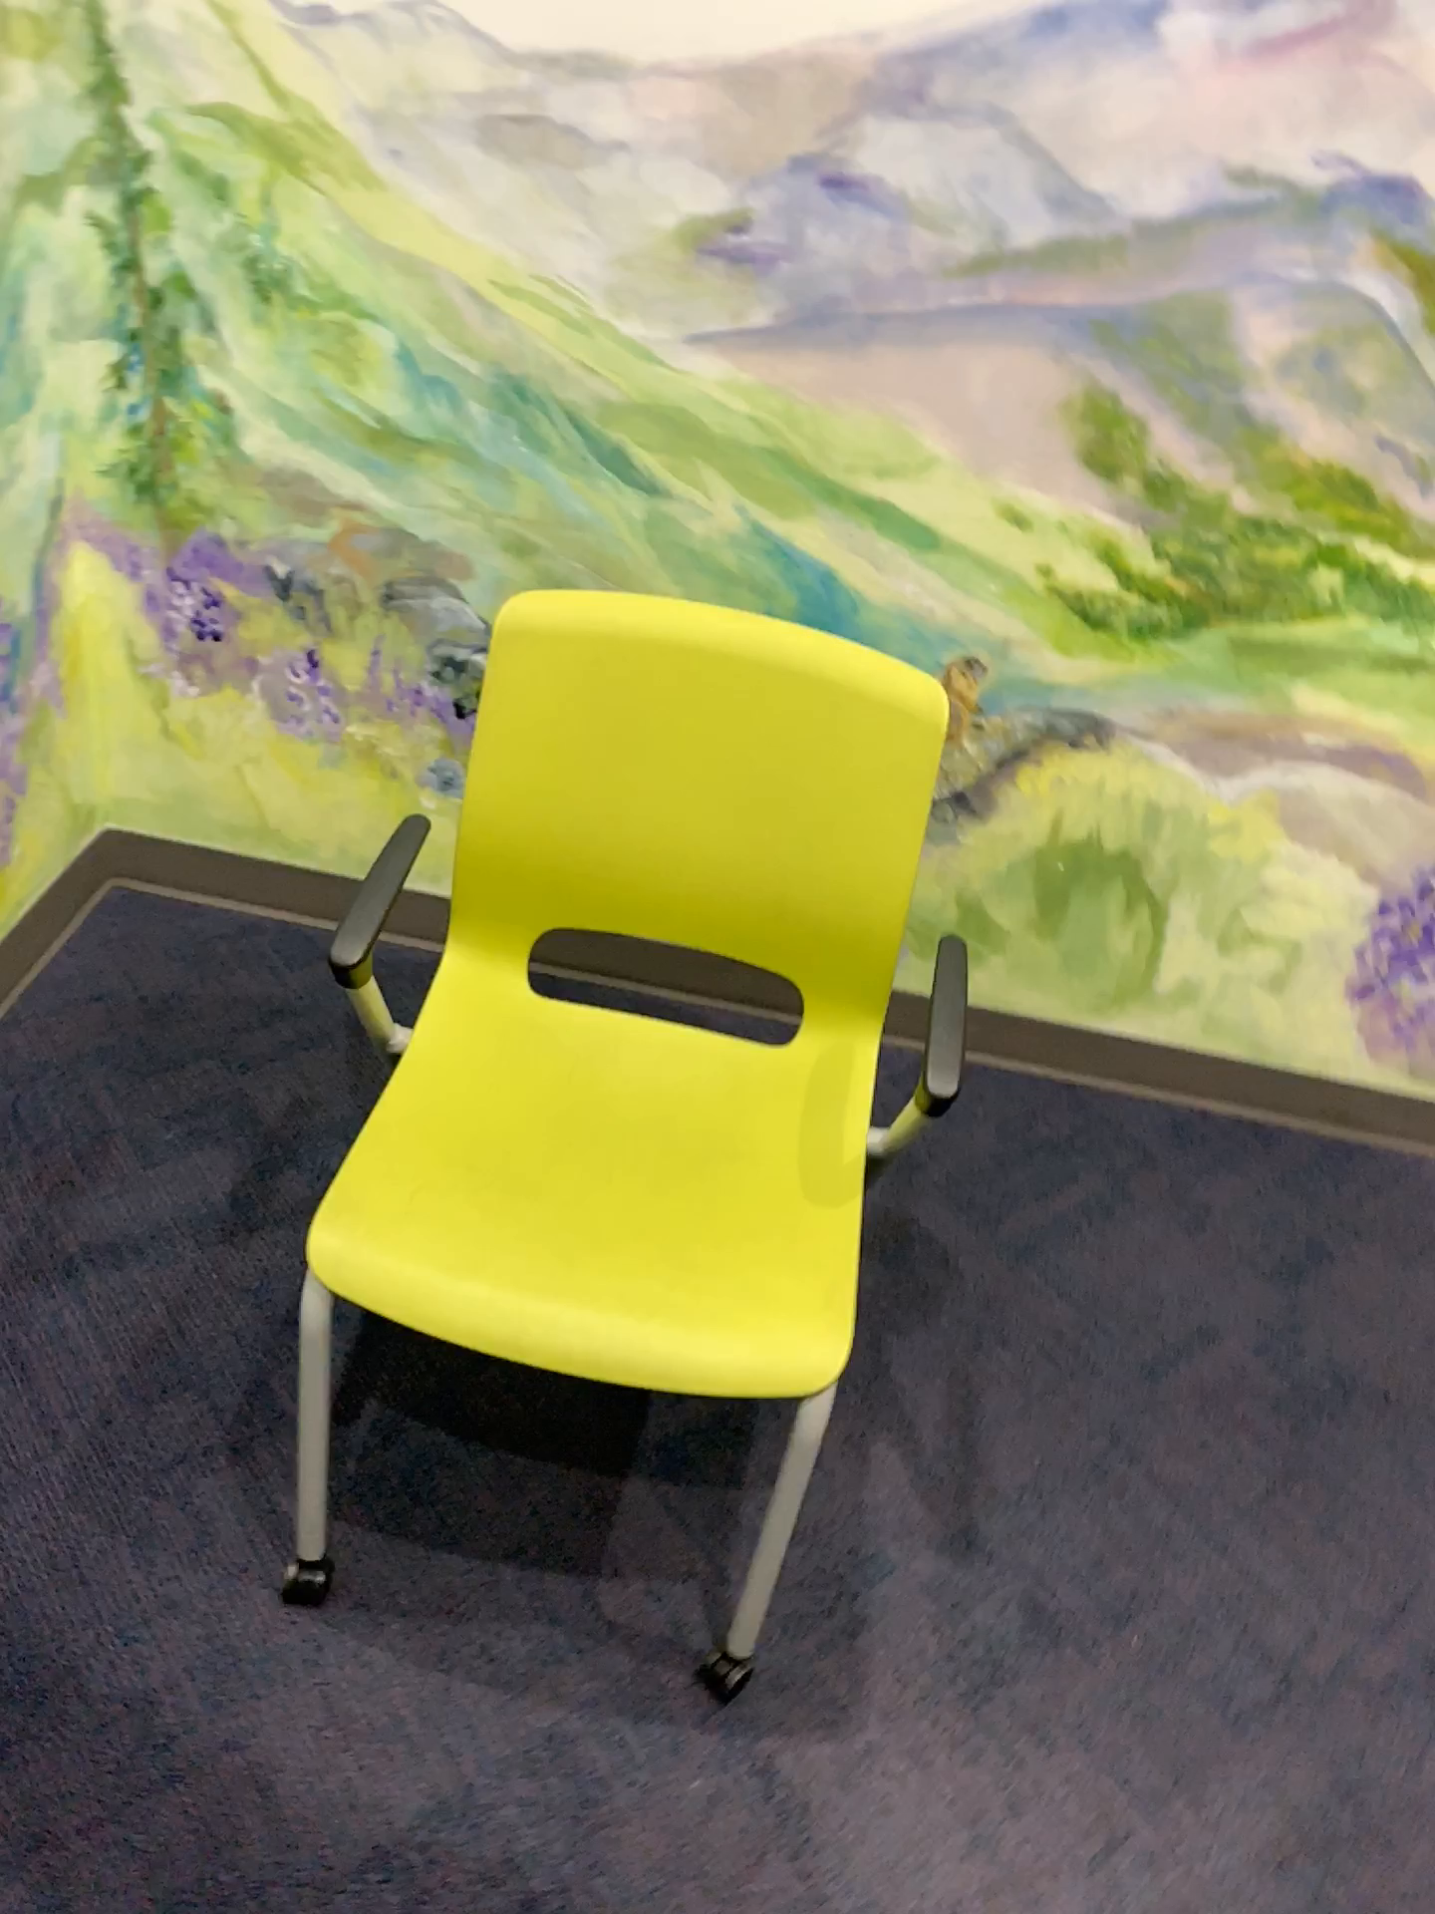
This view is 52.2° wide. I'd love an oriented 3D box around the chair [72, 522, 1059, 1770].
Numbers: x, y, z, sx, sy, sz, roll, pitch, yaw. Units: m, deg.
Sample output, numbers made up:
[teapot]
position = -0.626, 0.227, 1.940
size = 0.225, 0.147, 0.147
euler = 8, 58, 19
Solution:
[chair]
position = -0.080, 0.131, 1.358
size = 0.590, 0.717, 0.744
euler = 14, 37, 3
